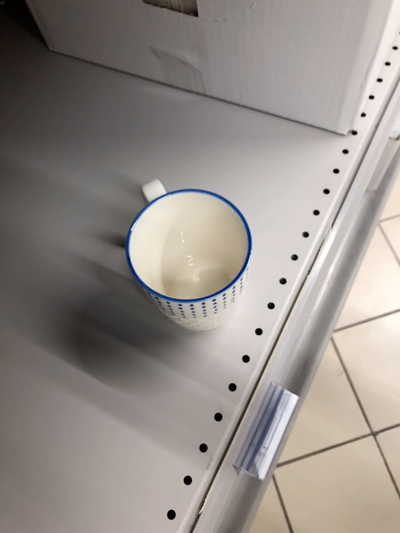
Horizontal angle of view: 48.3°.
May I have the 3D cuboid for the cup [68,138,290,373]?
[{"bbox_3d":[-0.013,-0.005,0.341,0.096,0.096,0.119,-38,68,-11],"label":"cup"}]
